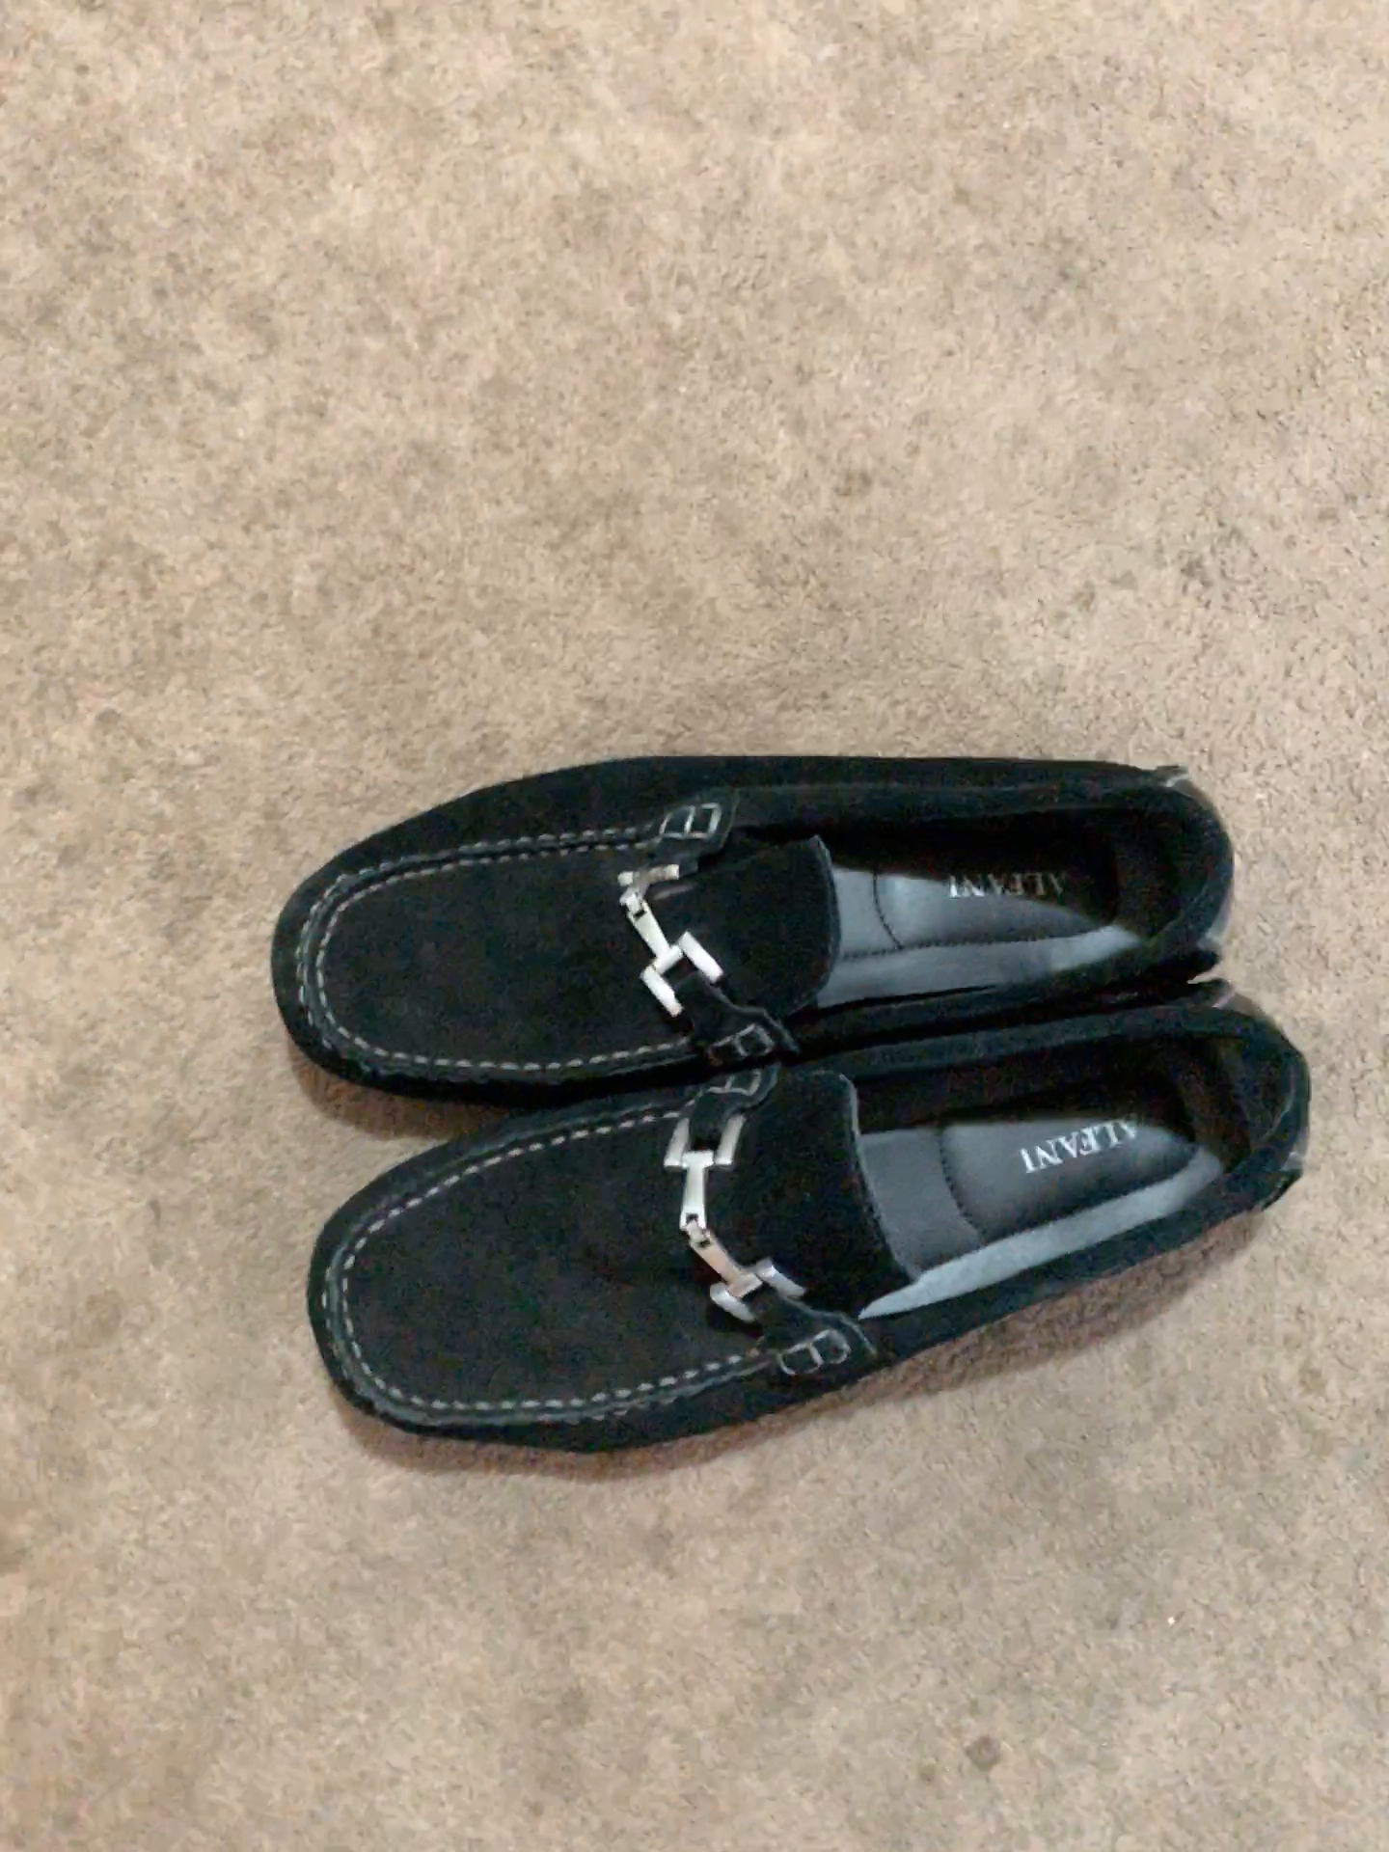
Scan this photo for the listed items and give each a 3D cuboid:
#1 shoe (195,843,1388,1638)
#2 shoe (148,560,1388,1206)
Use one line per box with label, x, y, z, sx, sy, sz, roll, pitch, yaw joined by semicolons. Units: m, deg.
shoe;0.039;0.077;0.388;0.300;0.100;0.100;-16;78;-9
shoe;0.022;-0.008;0.401;0.300;0.100;0.100;-12;77;-8
